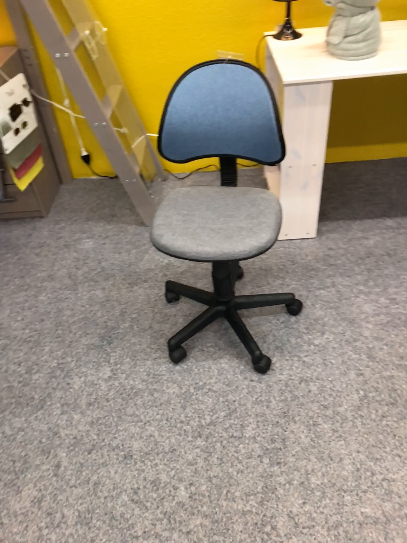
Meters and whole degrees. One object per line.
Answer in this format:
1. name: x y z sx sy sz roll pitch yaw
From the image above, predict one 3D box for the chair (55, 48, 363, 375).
1. chair: 0.052 -0.163 1.318 0.600 0.746 0.563 1 42 7
